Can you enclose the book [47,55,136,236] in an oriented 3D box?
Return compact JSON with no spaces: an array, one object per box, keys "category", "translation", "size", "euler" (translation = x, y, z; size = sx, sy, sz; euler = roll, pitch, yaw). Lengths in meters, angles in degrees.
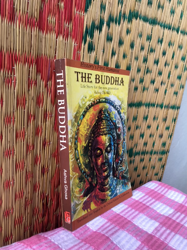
[{"category":"book","translation":[0.008,0.019,0.301],"size":[0.030,0.206,0.146],"euler":[1,5,43]}]
